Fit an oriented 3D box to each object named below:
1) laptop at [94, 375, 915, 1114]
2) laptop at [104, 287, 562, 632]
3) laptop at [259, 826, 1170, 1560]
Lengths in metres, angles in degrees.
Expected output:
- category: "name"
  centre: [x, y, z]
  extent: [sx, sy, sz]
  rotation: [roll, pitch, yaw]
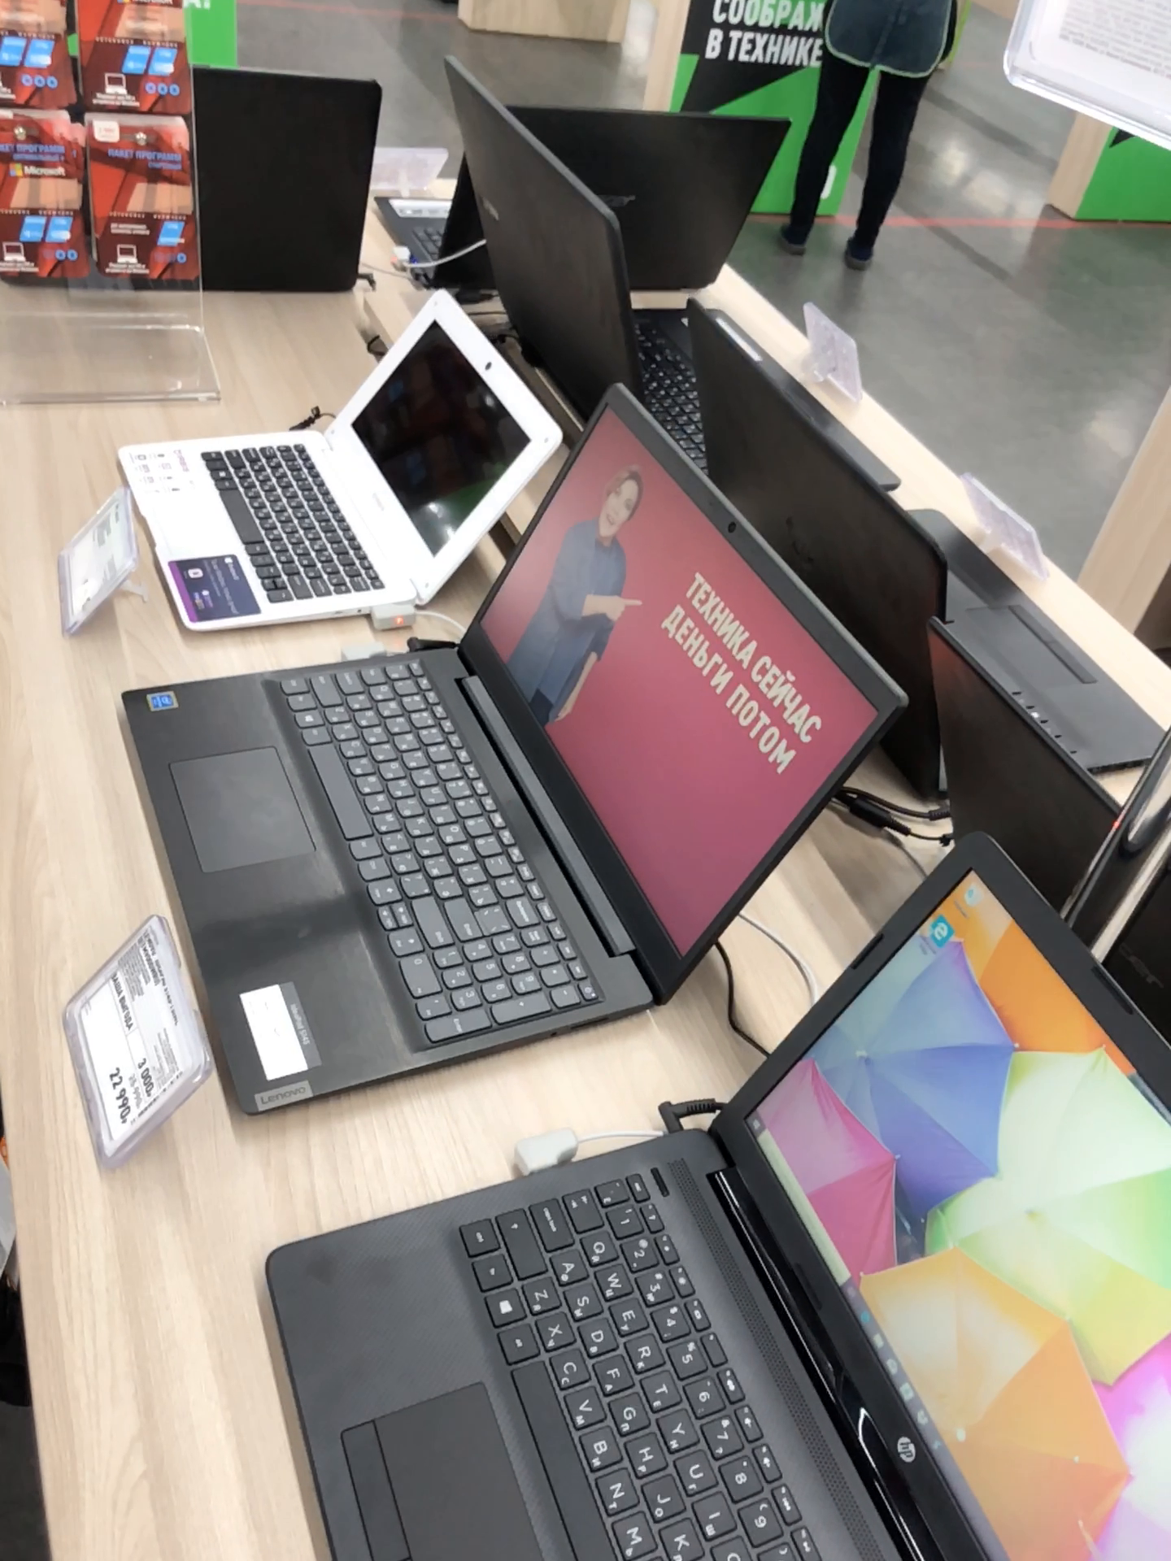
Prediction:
- category: "laptop"
  centre: [-0.076, -0.053, 0.772]
  extent: [0.341, 0.212, 0.356]
  rotation: [-11, 46, -23]
- category: "laptop"
  centre: [-0.216, -0.279, 1.063]
  extent: [0.289, 0.139, 0.280]
  rotation: [-11, 45, -24]
- category: "laptop"
  centre: [0.084, 0.243, 0.457]
  extent: [0.321, 0.206, 0.376]
  rotation: [-9, 44, -22]
